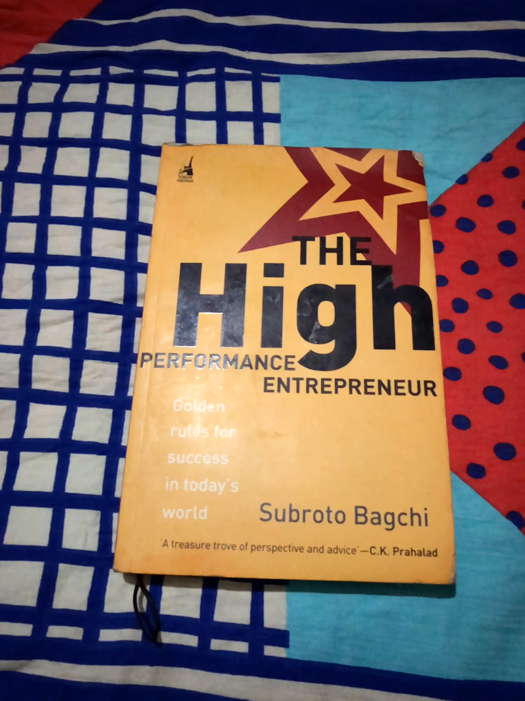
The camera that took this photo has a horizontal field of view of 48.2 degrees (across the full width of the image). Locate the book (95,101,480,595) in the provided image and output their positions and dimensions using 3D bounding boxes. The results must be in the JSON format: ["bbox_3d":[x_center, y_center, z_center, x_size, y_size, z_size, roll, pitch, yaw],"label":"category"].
[{"bbox_3d":[0.012,-0.012,0.275,0.140,0.040,0.230,1,68,1],"label":"book"}]
